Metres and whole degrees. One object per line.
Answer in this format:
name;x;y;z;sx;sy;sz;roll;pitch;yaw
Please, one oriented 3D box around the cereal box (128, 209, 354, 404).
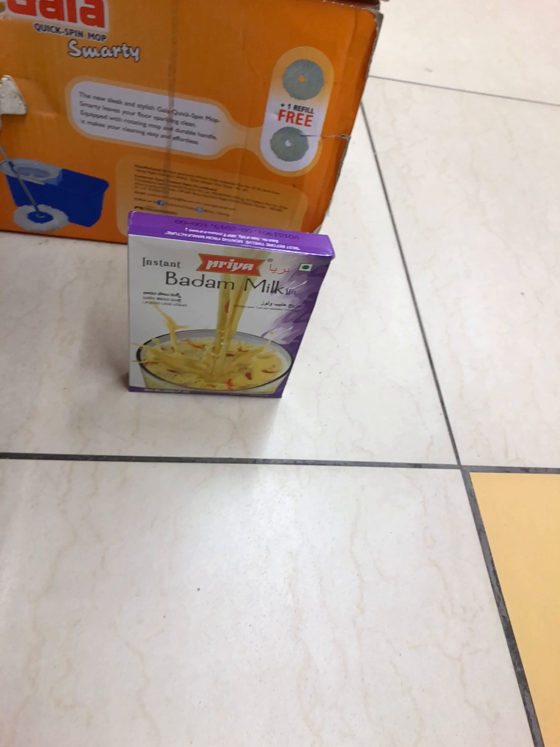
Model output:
cereal box;-0.035;-0.036;0.422;0.130;0.149;0.030;3;53;-12
